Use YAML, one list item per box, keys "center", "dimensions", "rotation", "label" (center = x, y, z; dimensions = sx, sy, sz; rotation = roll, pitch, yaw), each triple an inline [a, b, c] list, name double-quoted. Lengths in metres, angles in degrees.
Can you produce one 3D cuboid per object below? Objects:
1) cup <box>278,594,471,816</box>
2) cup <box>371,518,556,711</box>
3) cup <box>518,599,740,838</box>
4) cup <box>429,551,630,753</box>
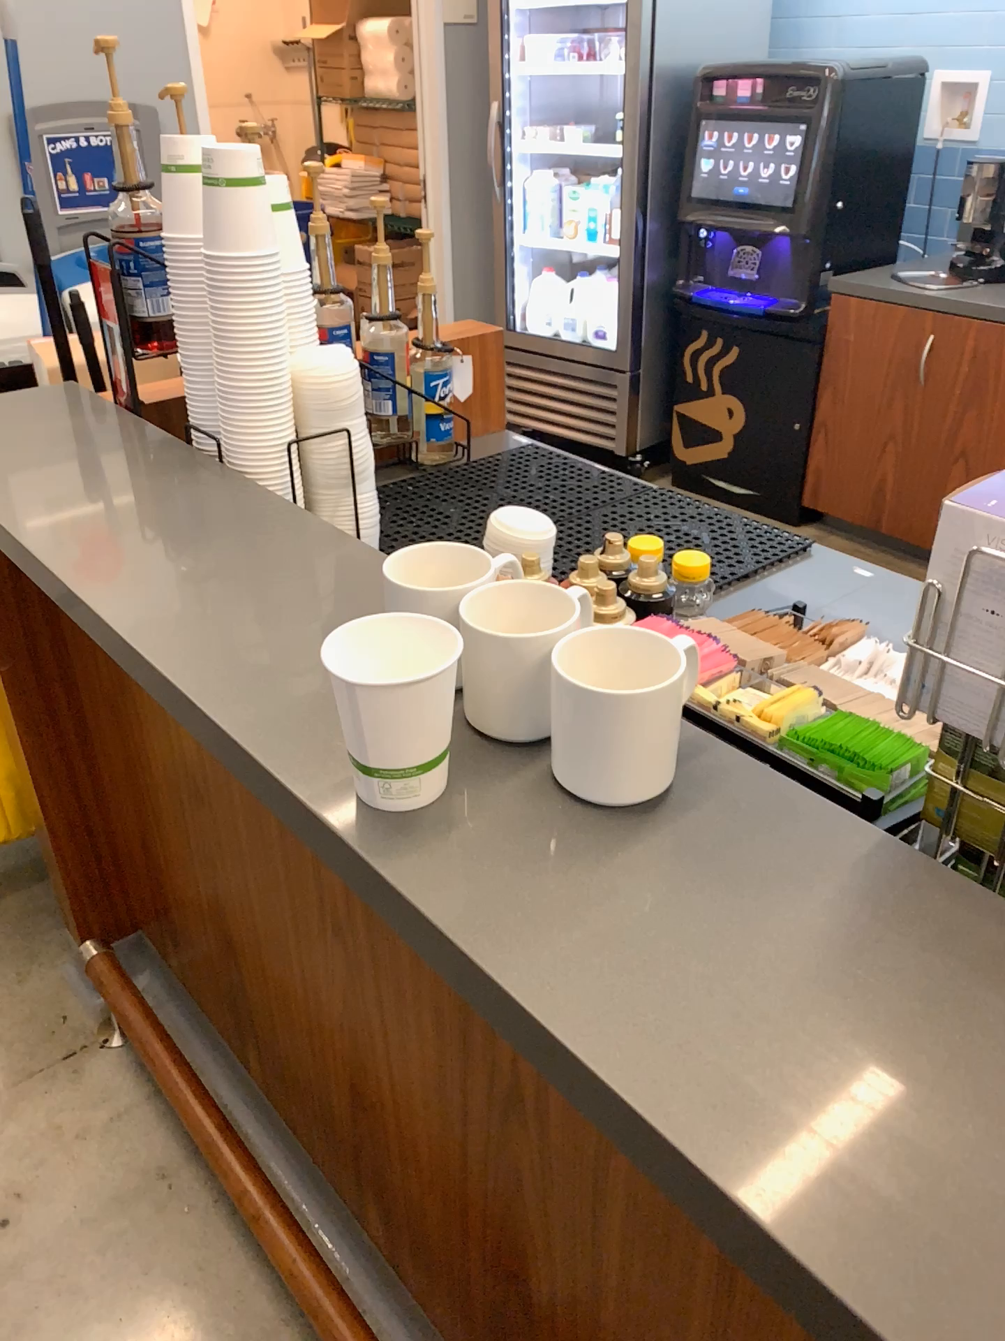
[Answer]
- center: [-0.078, 0.020, 0.666]
  dimensions: [0.090, 0.099, 0.090]
  rotation: [-1, 31, 0]
  label: "cup"
- center: [-0.030, -0.047, 0.813]
  dimensions: [0.110, 0.099, 0.090]
  rotation: [-20, 36, -29]
  label: "cup"
- center: [0.082, 0.028, 0.690]
  dimensions: [0.110, 0.099, 0.090]
  rotation: [-21, 36, -30]
  label: "cup"
- center: [0.019, -0.017, 0.750]
  dimensions: [0.110, 0.089, 0.090]
  rotation: [-20, 36, -29]
  label: "cup"
